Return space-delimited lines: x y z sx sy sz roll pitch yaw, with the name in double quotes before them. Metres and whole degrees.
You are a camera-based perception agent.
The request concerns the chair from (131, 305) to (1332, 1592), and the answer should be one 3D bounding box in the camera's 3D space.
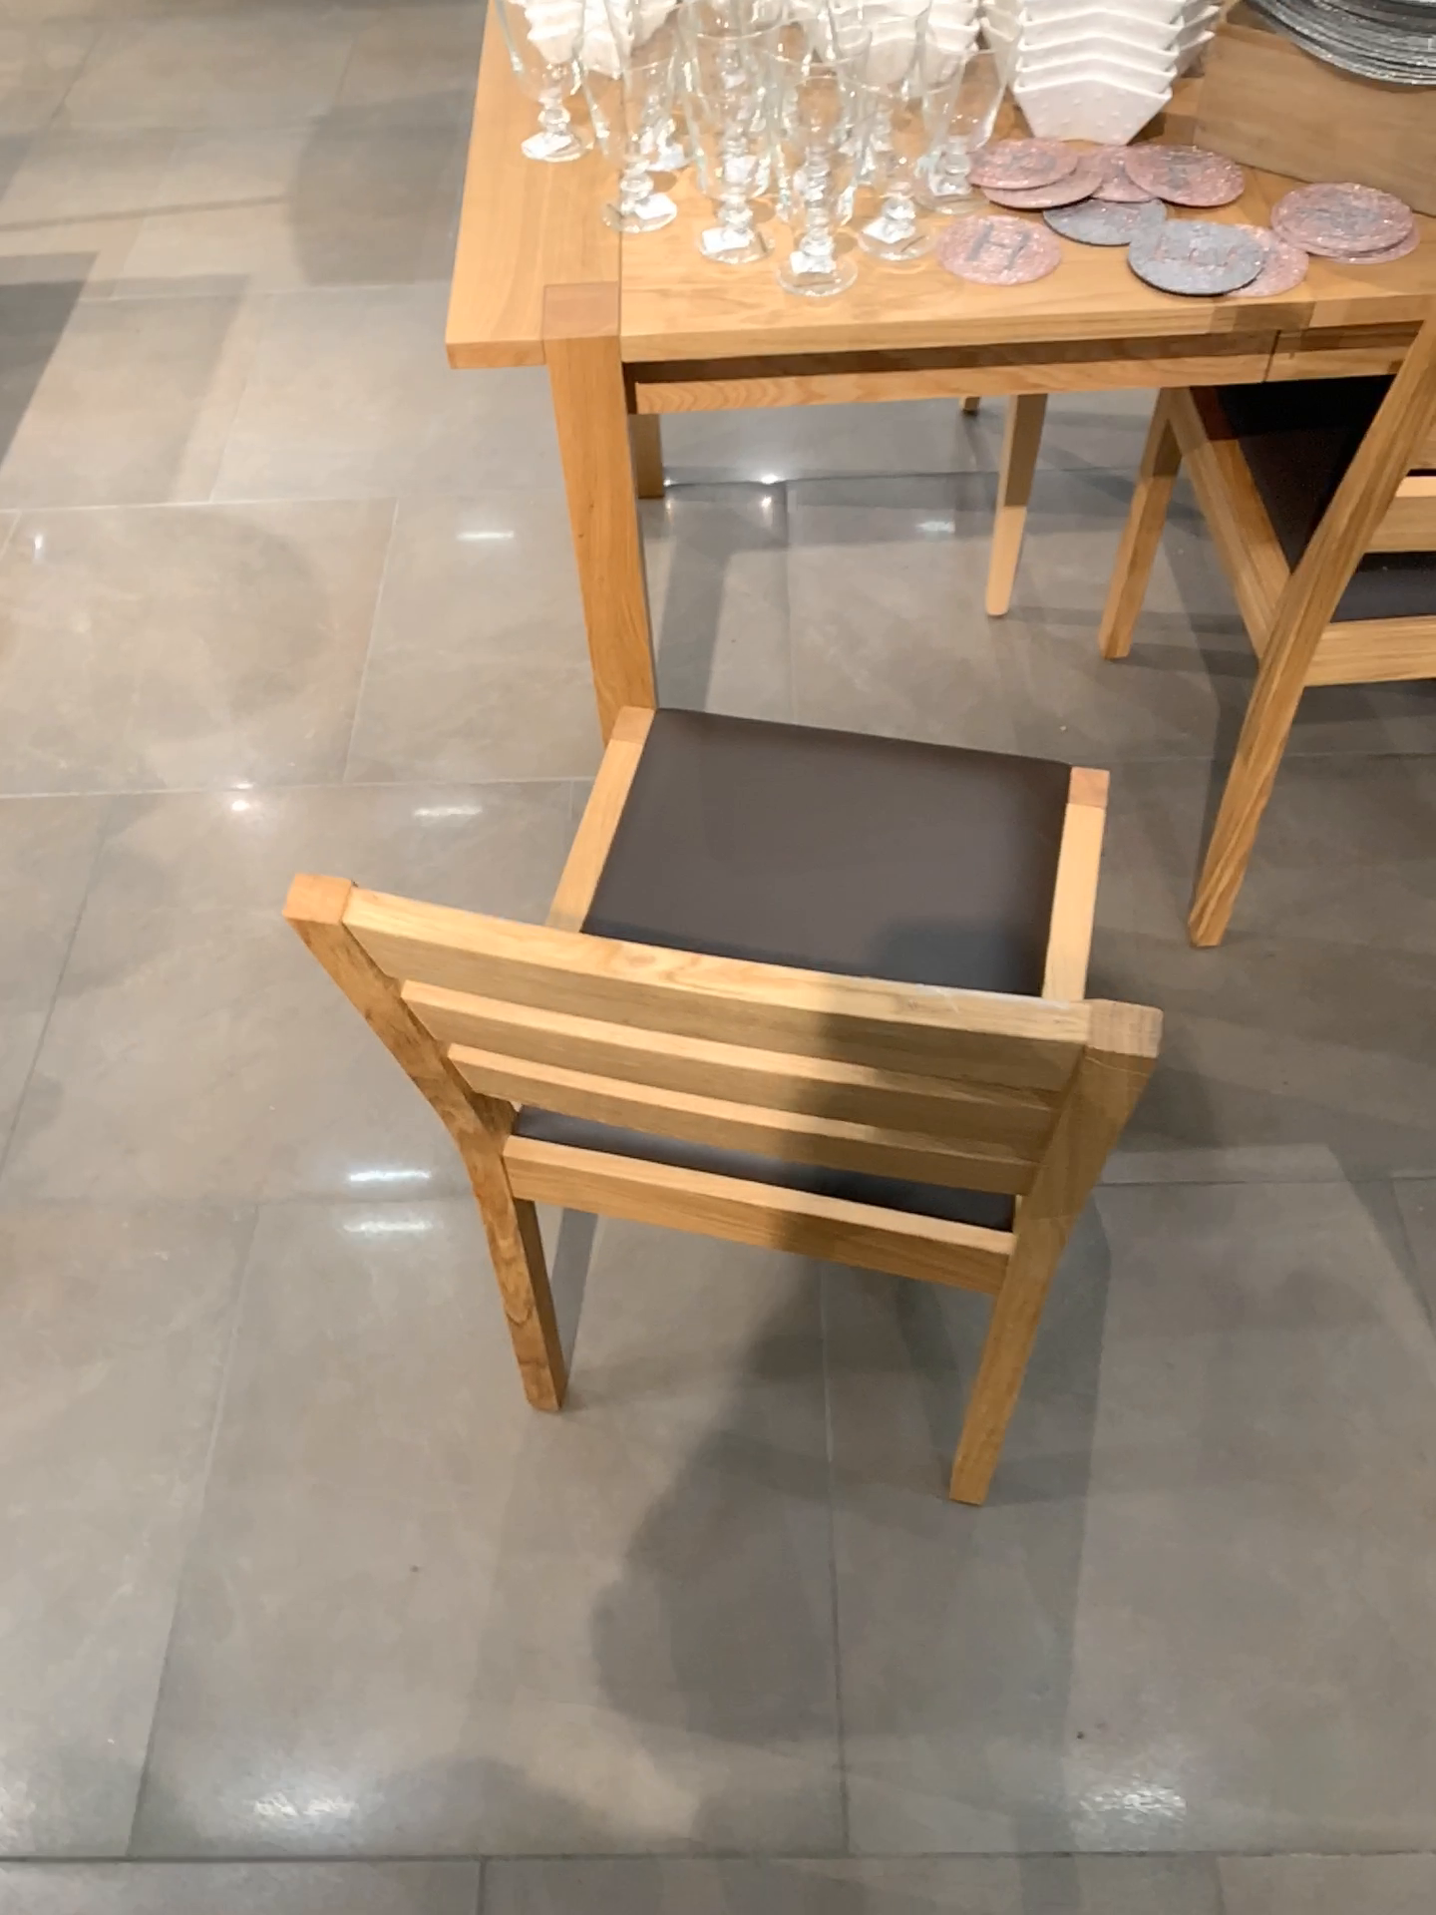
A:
"chair" 0.069 0.045 1.159 0.563 0.817 0.567 9 55 10
